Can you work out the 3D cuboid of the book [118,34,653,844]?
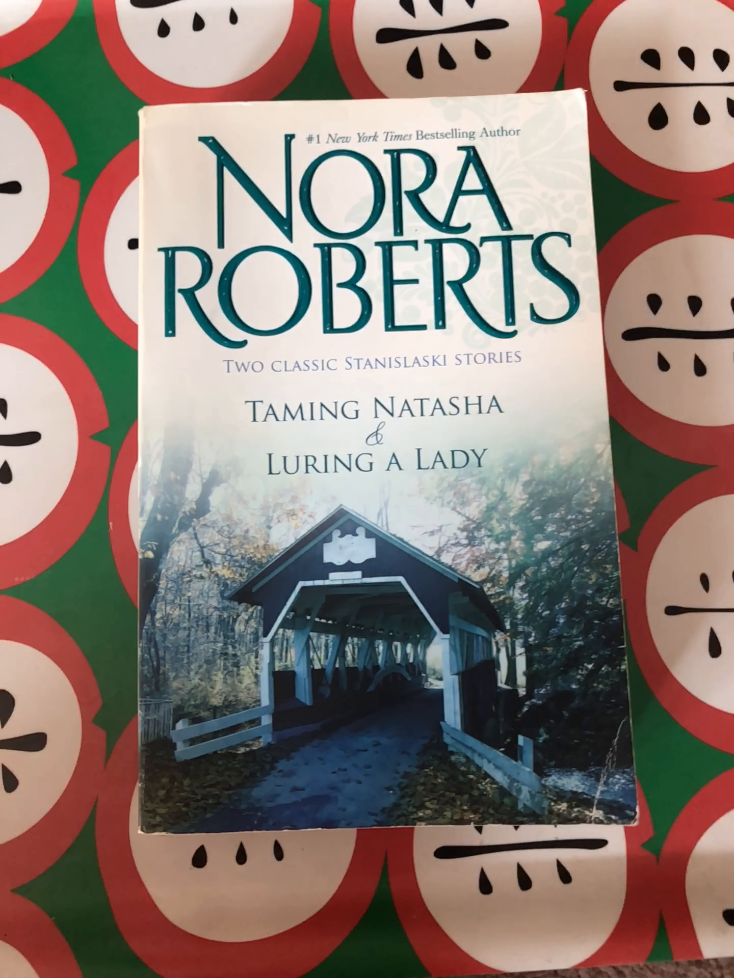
[{"bbox_3d":[0.002,-0.016,0.244,0.140,0.040,0.220,-2,85,1],"label":"book"}]
